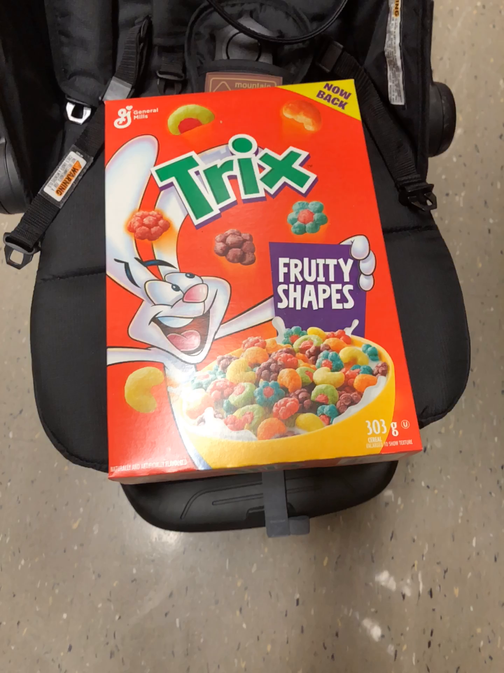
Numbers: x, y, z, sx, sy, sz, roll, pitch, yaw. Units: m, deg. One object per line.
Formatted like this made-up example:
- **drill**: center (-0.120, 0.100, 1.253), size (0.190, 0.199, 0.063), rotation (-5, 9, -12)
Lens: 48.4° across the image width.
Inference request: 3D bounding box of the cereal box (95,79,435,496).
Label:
- **cereal box**: center (-0.003, -0.041, 0.404), size (0.200, 0.060, 0.280), rotation (-5, 73, -2)
